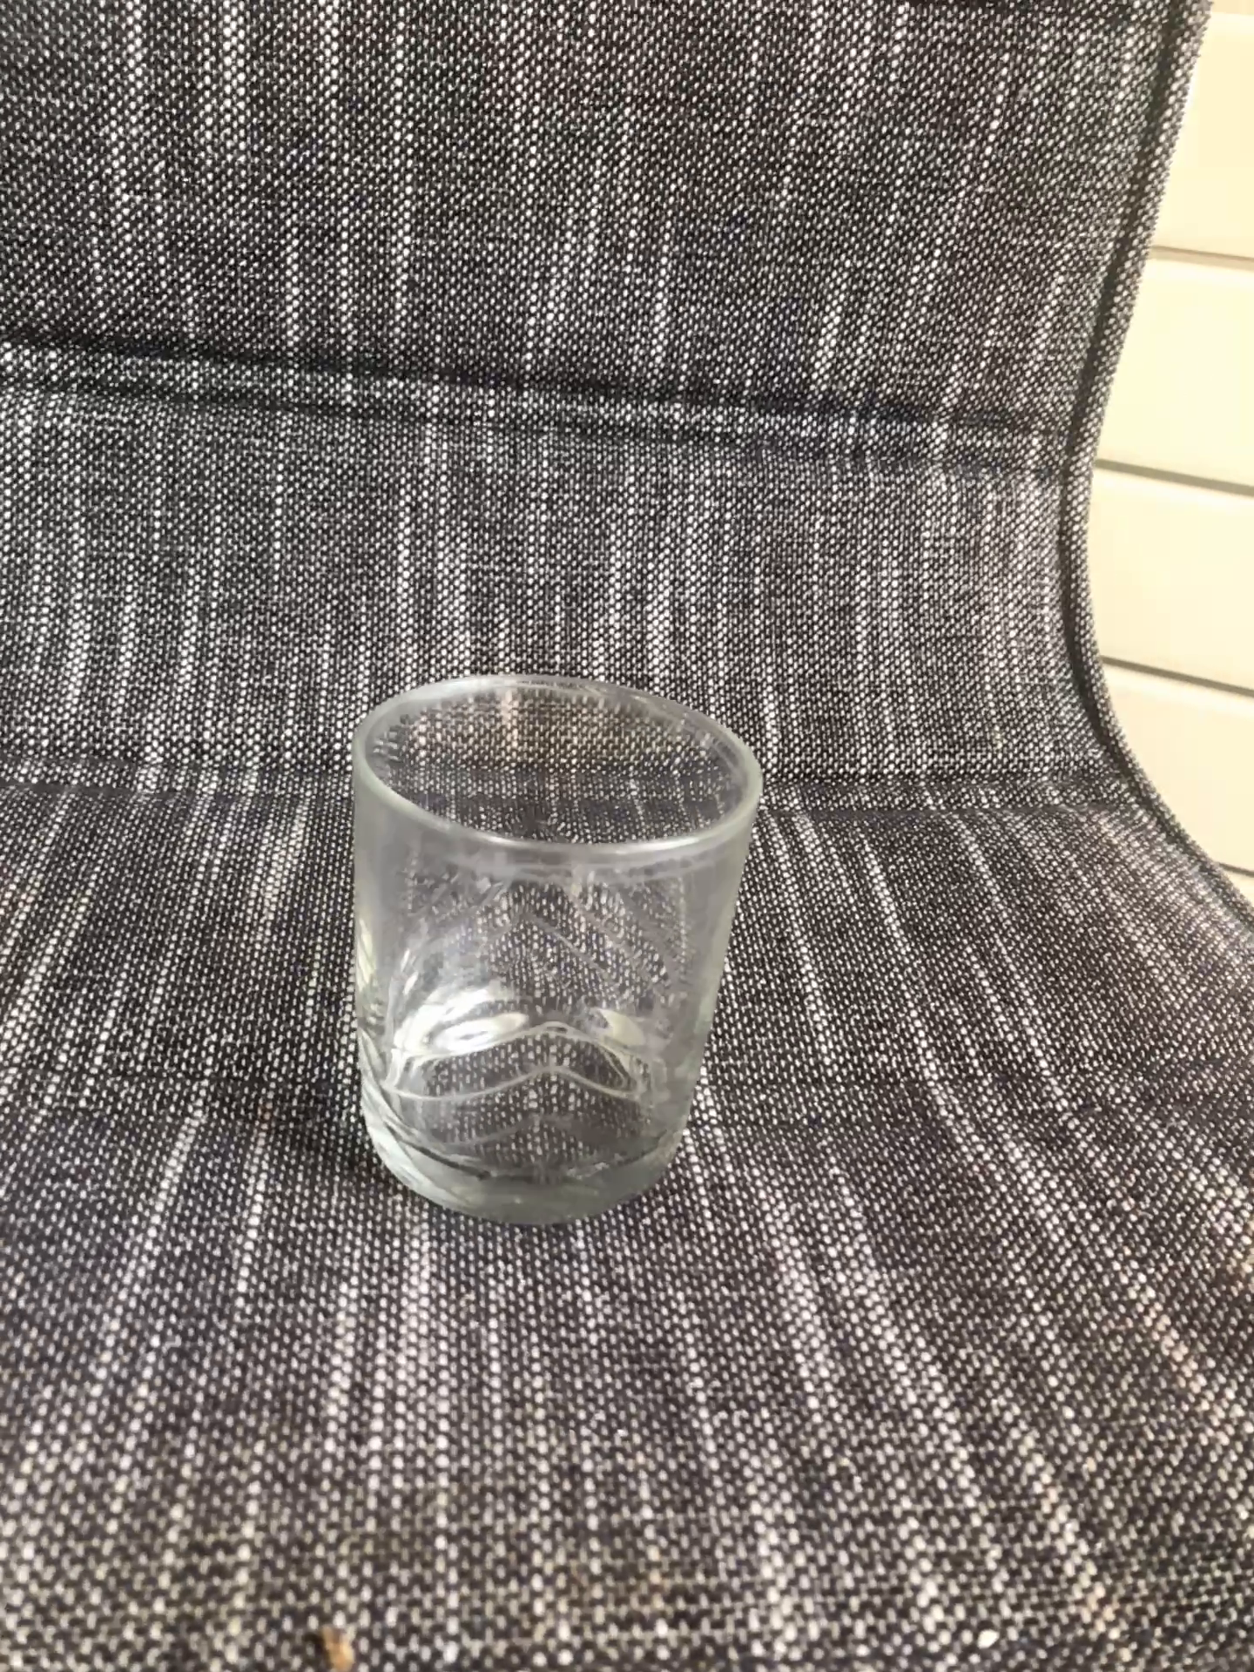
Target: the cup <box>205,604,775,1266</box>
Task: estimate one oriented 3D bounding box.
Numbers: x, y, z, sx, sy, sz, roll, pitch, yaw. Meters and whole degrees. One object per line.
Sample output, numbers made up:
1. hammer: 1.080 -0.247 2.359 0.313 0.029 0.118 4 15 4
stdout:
1. cup: -0.023 0.013 0.253 0.070 0.080 0.070 4 29 -2
